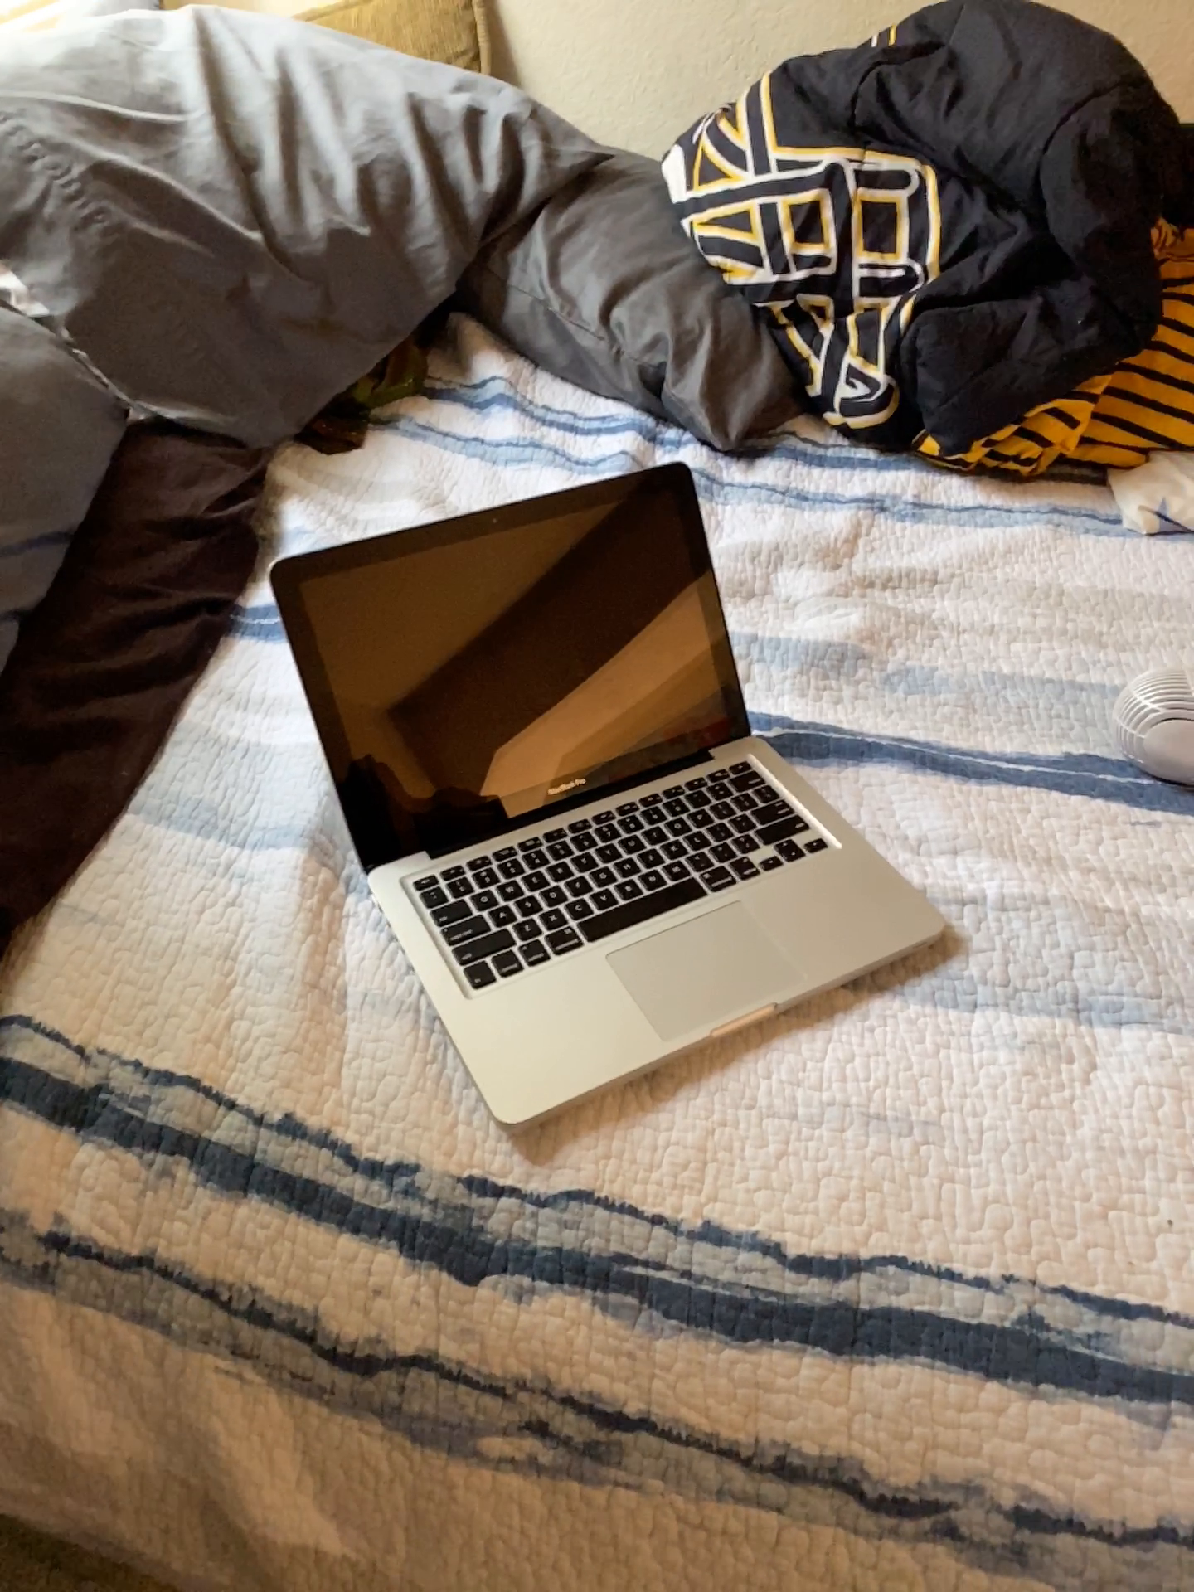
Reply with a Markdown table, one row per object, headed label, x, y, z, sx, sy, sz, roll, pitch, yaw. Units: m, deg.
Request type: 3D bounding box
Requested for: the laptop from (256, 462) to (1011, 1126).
| label | x | y | z | sx | sy | sz | roll | pitch | yaw |
| --- | --- | --- | --- | --- | --- | --- | --- | --- | --- |
| laptop | 0.006 | -0.032 | 0.786 | 0.320 | 0.165 | 0.347 | -20 | 47 | -22 |
